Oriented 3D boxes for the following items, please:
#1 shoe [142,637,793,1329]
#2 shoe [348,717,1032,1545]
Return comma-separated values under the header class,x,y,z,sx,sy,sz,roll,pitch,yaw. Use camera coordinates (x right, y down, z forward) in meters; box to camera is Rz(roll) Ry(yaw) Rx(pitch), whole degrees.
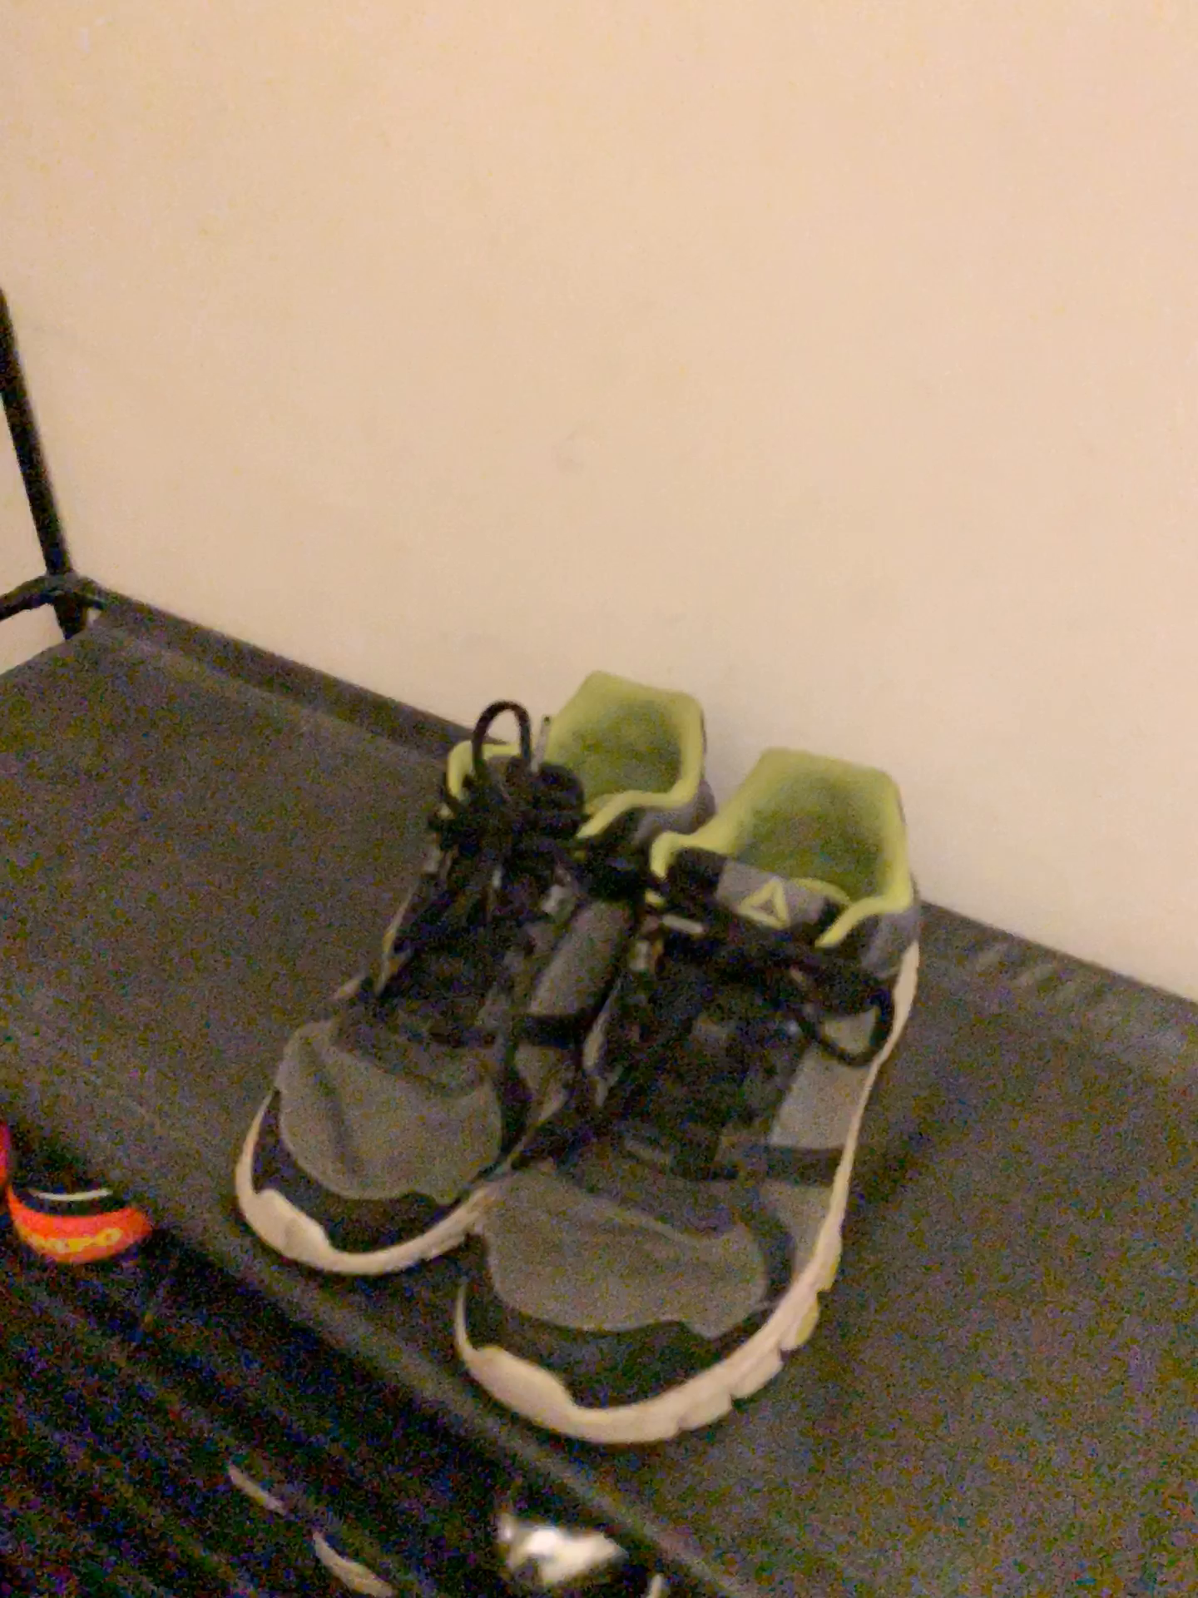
class,x,y,z,sx,sy,sz,roll,pitch,yaw
shoe,-0.029,0.047,0.461,0.100,0.099,0.252,20,40,25
shoe,0.048,0.078,0.403,0.110,0.069,0.262,19,40,23
